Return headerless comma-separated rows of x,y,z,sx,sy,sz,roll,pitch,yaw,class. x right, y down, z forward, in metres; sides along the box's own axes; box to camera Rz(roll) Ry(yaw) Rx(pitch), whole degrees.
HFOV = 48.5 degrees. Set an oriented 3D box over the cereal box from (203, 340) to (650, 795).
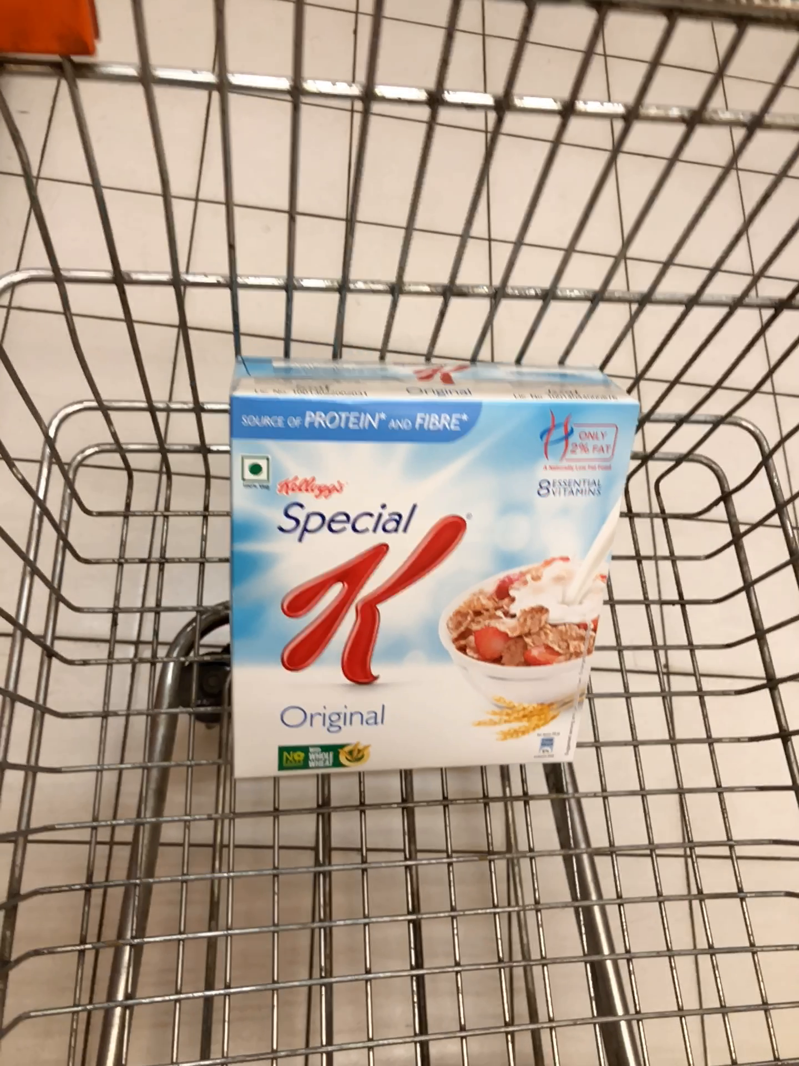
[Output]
0.002,0.019,0.444,0.190,0.209,0.070,-1,26,-11,cereal box
